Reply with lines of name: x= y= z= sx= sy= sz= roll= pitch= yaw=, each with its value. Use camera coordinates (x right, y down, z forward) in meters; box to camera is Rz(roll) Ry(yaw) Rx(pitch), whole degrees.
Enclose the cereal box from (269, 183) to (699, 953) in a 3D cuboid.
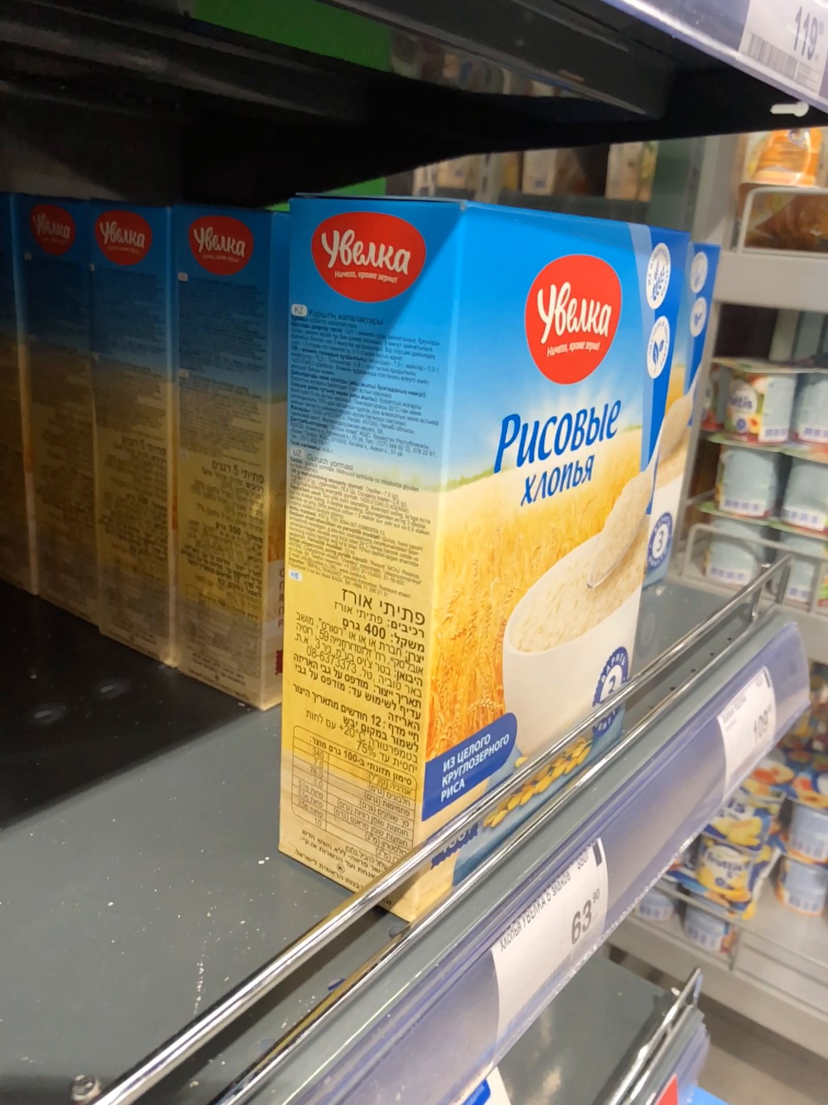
cereal box: x=0.025 y=-0.006 z=0.298 sx=0.060 sy=0.199 sz=0.140 roll=15 pitch=21 yaw=32
